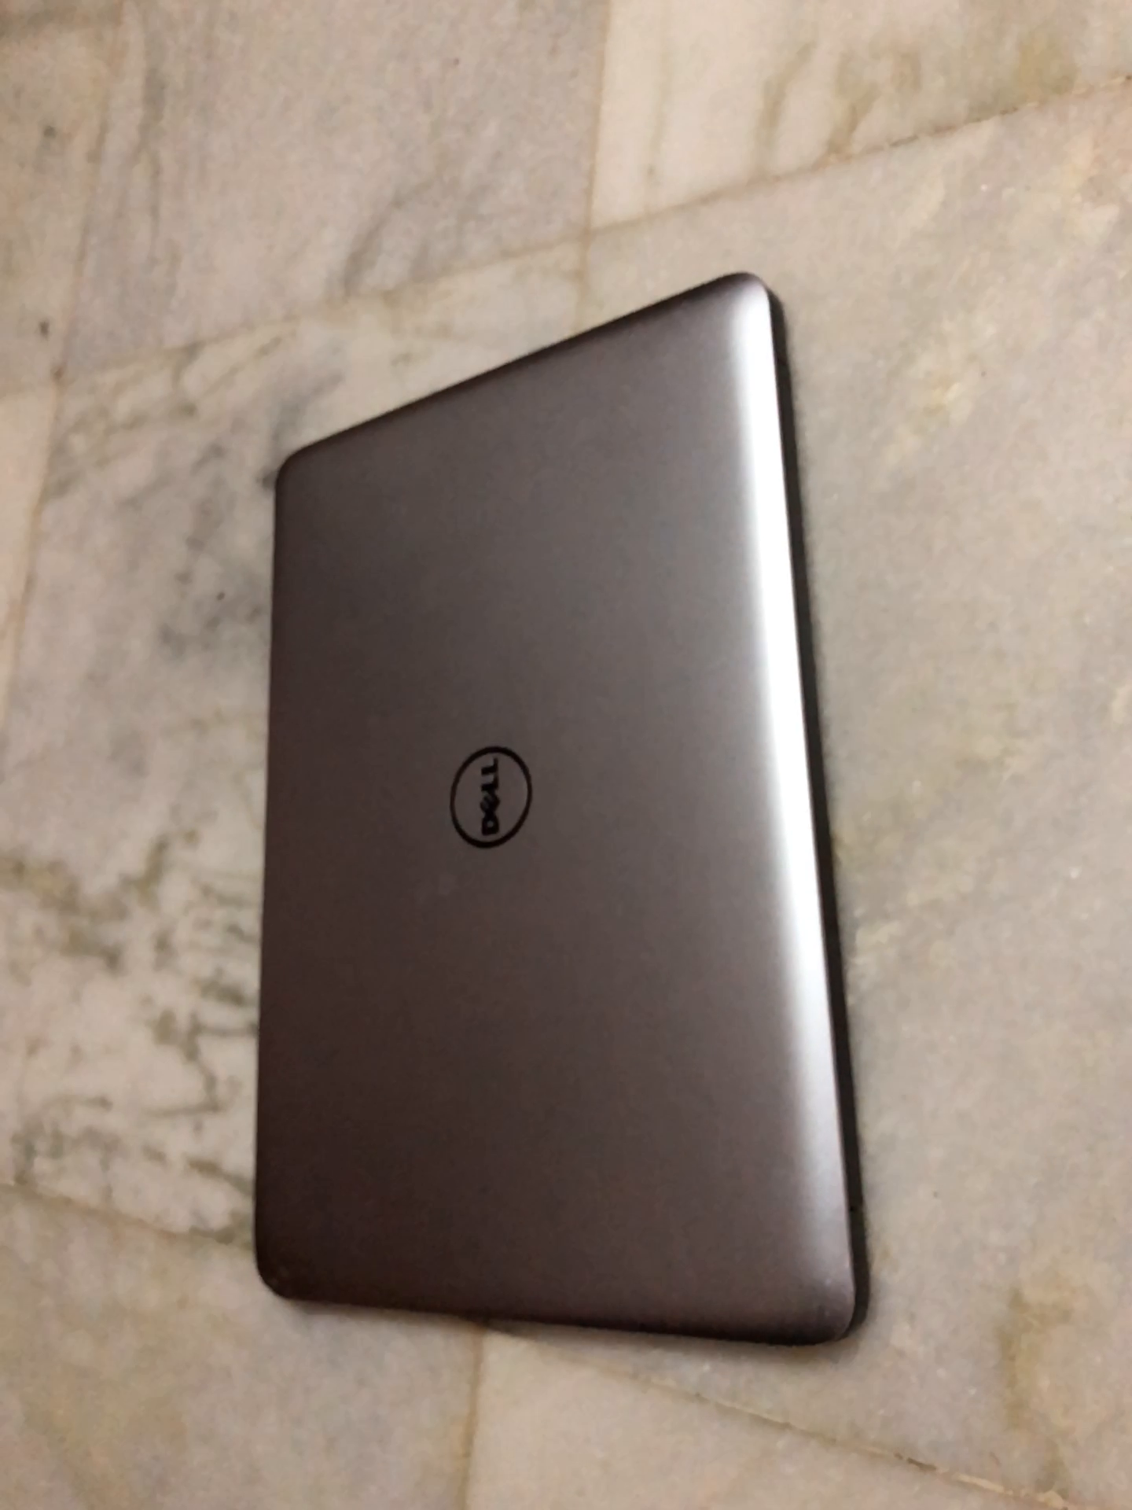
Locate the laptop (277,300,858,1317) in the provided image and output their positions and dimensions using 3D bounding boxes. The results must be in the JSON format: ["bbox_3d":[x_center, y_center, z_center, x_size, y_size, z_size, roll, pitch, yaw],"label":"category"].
[{"bbox_3d":[-0.021,0.022,0.485,0.244,0.002,0.346,-12,72,32],"label":"laptop"}]
